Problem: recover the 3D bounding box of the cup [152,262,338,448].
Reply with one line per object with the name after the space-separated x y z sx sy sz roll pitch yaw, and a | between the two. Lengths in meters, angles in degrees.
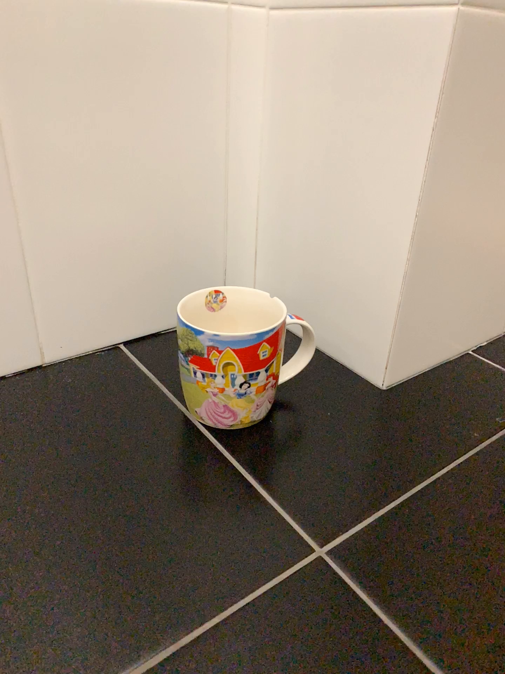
-0.007 0.008 0.444 0.124 0.099 0.086 -20 37 -36 | cup
